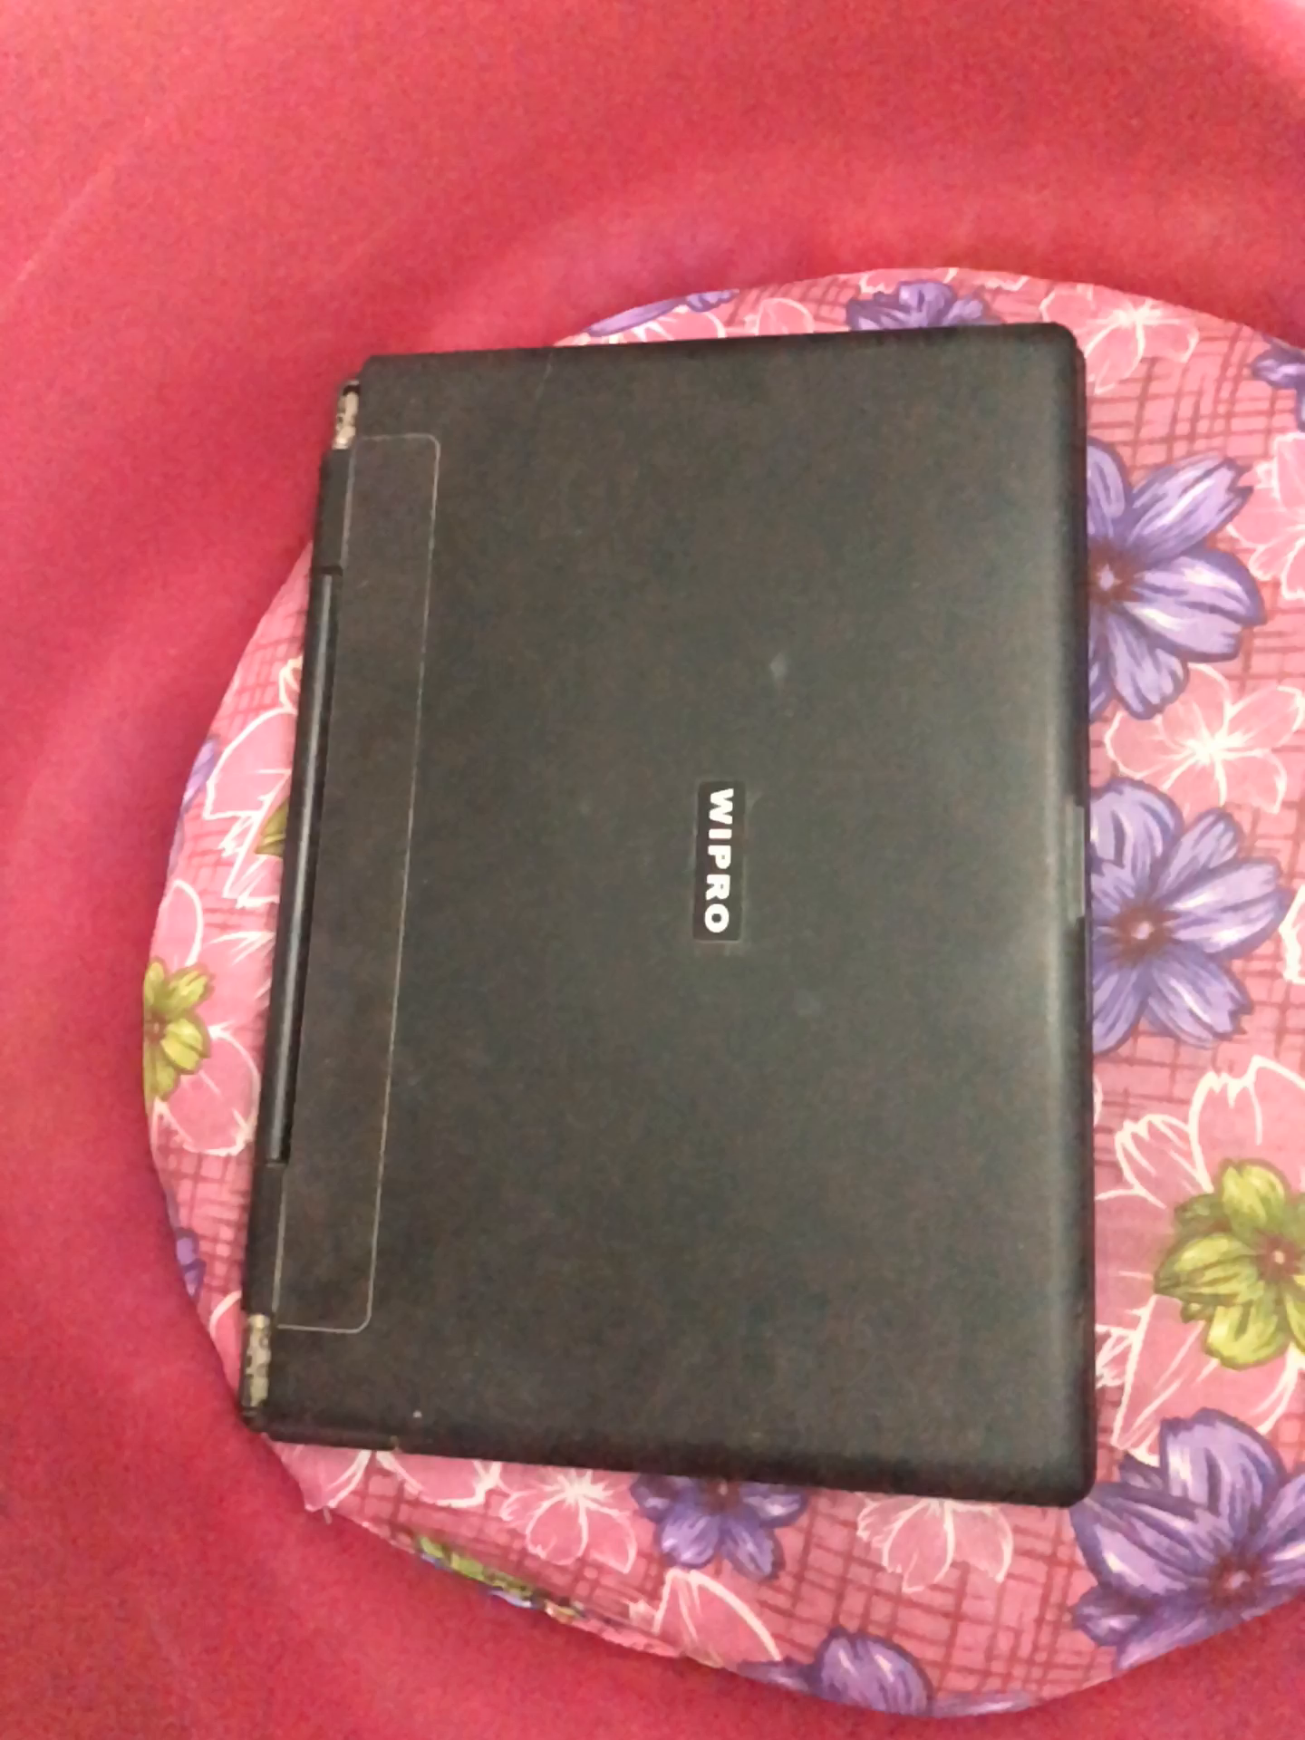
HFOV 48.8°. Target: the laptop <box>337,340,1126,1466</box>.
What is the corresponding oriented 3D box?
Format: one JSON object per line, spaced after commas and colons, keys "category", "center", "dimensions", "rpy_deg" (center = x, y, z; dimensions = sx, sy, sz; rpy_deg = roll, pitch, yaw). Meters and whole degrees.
{"category": "laptop", "center": [0.025, -0.004, 0.430], "dimensions": [0.220, 0.006, 0.322], "rpy_deg": [1, 79, 11]}
